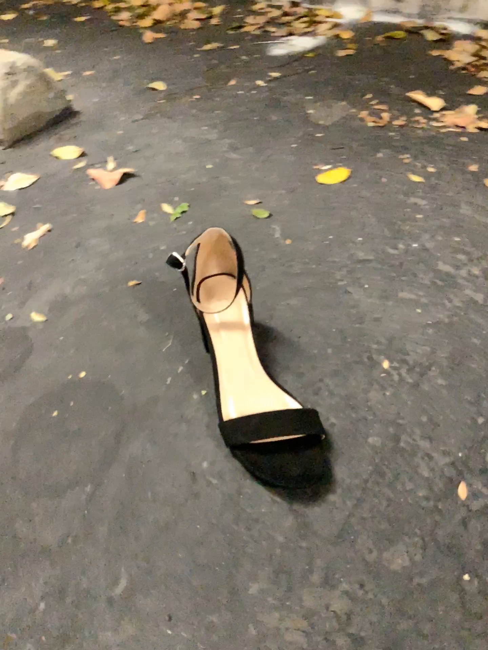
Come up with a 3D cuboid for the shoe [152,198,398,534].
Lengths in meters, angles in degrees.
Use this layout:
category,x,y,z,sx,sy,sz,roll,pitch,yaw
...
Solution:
category,x,y,z,sx,sy,sz,roll,pitch,yaw
shoe,0.010,0.018,0.498,0.120,0.140,0.270,-14,43,-12
